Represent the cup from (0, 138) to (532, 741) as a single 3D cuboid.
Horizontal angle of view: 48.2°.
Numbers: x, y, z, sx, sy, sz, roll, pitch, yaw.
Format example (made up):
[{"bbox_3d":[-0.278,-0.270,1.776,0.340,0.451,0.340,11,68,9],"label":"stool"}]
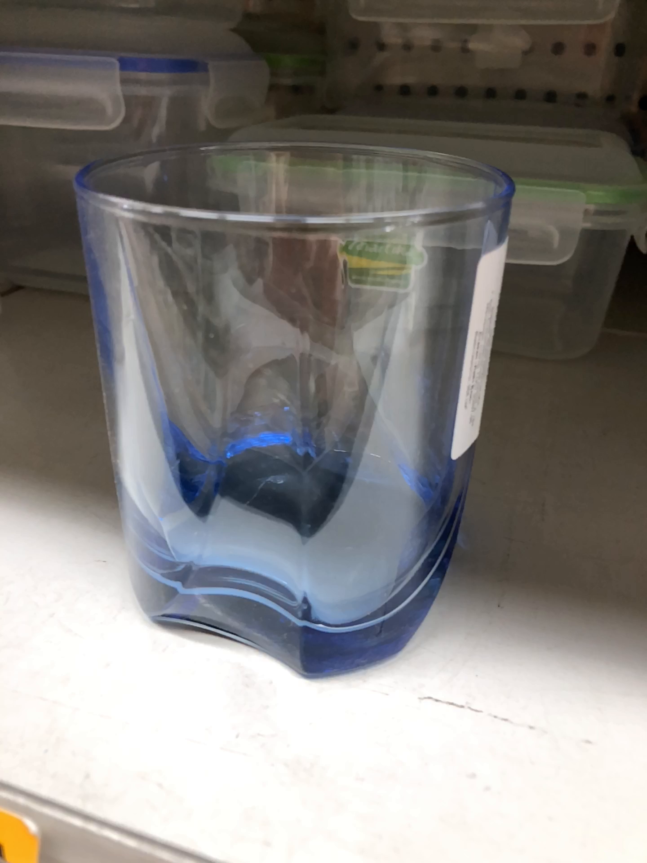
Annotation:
[{"bbox_3d":[-0.010,-0.010,0.164,0.085,0.094,0.083,0,27,0],"label":"cup"}]
